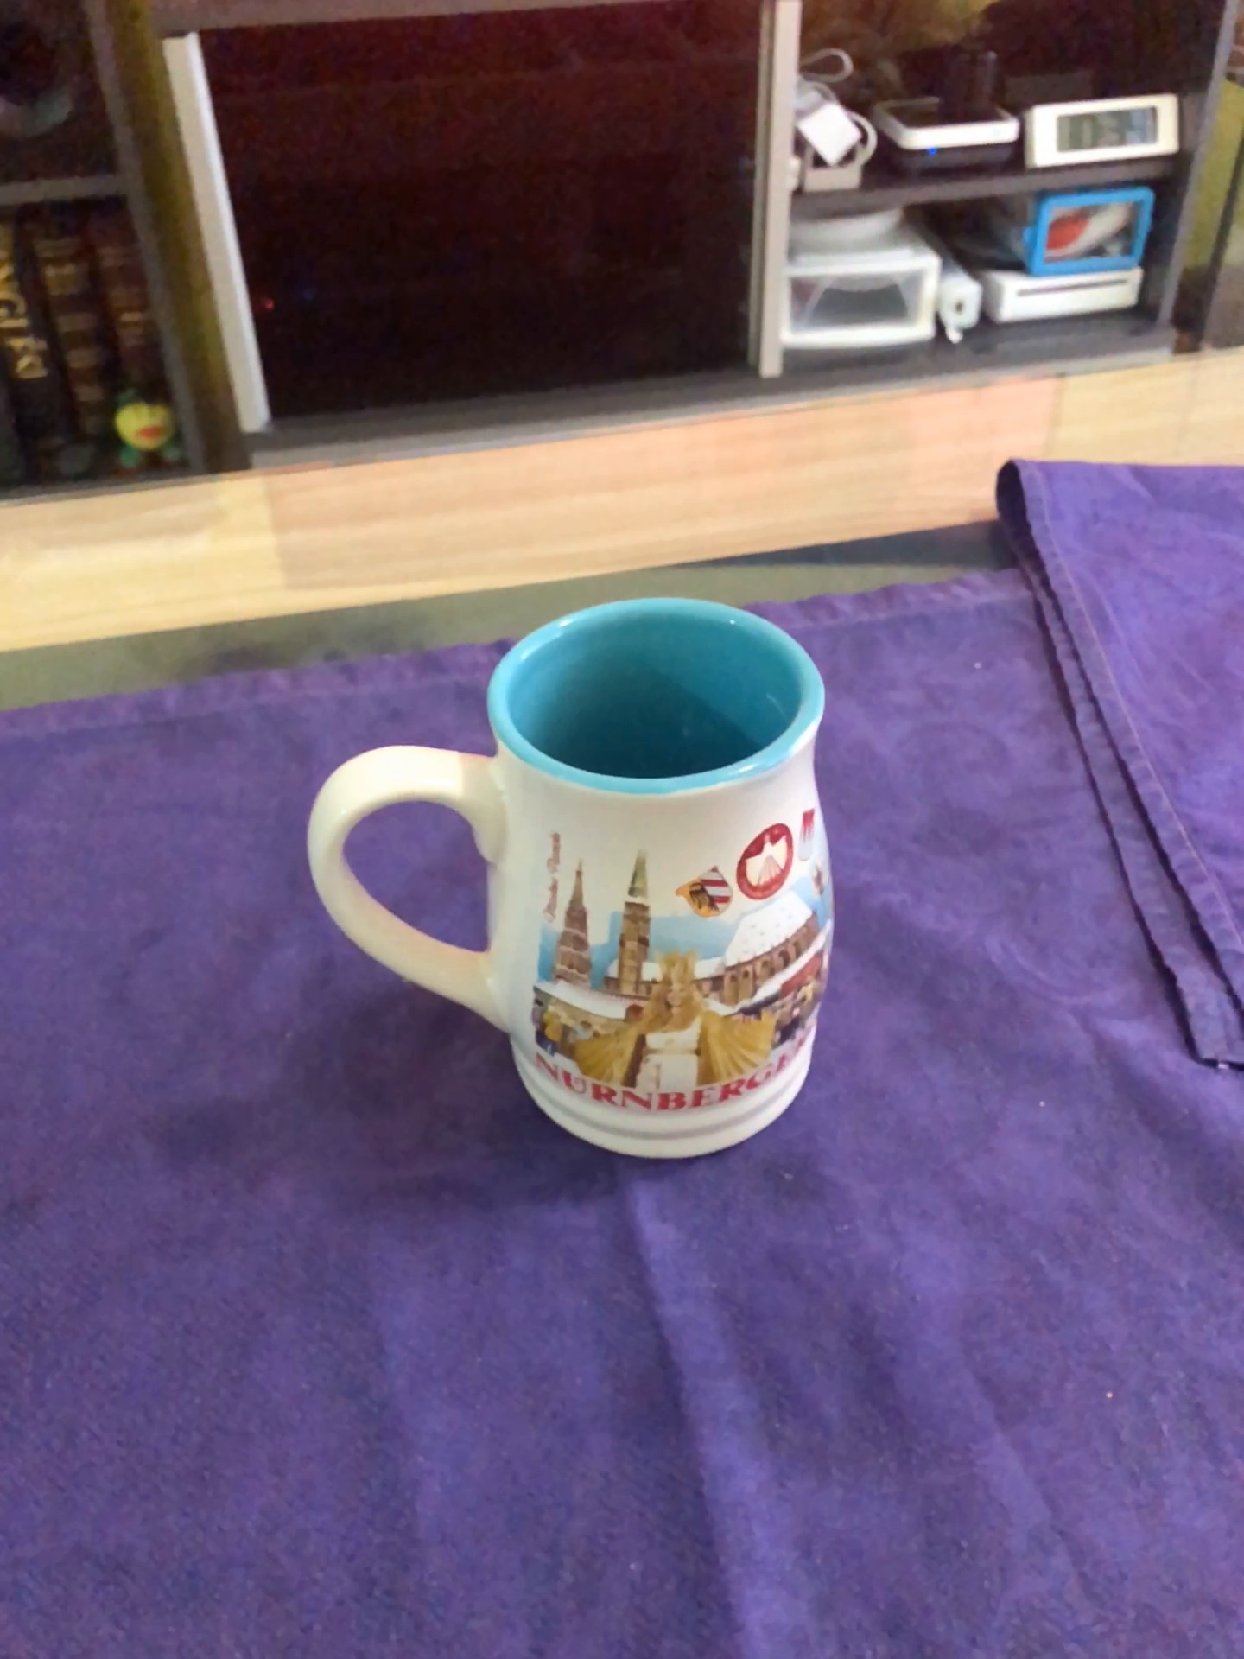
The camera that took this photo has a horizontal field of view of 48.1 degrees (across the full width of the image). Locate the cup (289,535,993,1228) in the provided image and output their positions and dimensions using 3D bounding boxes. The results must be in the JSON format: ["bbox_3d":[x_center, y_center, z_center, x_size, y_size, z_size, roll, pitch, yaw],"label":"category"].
[{"bbox_3d":[0.000,0.011,0.300,0.120,0.109,0.080,-7,40,-6],"label":"cup"}]
